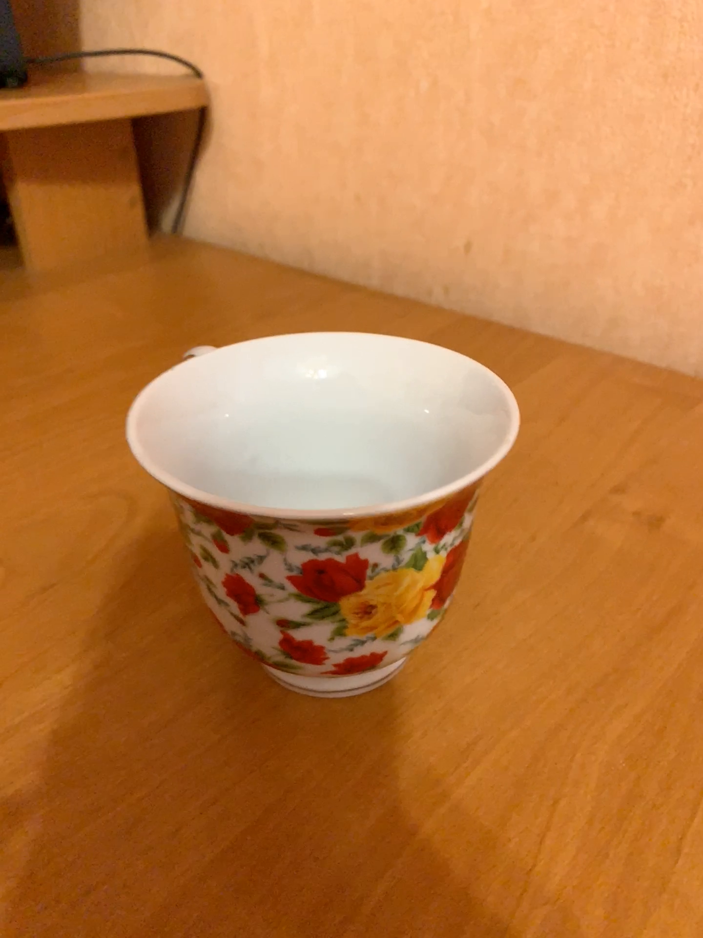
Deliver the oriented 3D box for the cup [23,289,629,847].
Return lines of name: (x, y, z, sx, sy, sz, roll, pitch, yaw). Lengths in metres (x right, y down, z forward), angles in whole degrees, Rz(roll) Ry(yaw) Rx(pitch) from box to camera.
cup: (-0.012, 0.008, 0.202, 0.100, 0.067, 0.120, -23, 38, -32)
